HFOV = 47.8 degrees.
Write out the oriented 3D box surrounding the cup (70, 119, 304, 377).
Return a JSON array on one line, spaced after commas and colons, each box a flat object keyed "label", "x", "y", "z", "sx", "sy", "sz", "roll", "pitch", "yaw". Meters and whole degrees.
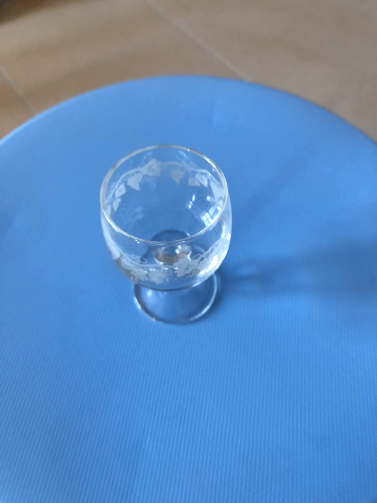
[{"label": "cup", "x": 0.000, "y": 0.002, "z": 0.188, "sx": 0.060, "sy": 0.080, "sz": 0.060, "roll": 0, "pitch": 59, "yaw": 1}]
